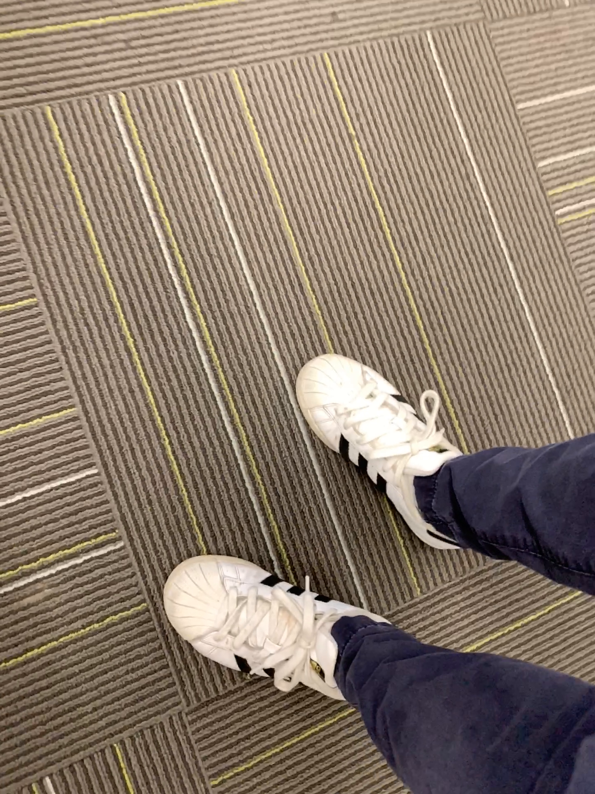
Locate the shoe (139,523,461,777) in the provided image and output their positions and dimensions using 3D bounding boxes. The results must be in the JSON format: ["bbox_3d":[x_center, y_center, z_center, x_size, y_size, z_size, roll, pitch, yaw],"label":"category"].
[{"bbox_3d":[-0.002,0.227,0.567,0.262,0.104,0.108,28,78,-10],"label":"shoe"}]

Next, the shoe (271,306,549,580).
[{"bbox_3d":[0.110,0.049,0.623,0.258,0.104,0.105,46,75,-6],"label":"shoe"}]
